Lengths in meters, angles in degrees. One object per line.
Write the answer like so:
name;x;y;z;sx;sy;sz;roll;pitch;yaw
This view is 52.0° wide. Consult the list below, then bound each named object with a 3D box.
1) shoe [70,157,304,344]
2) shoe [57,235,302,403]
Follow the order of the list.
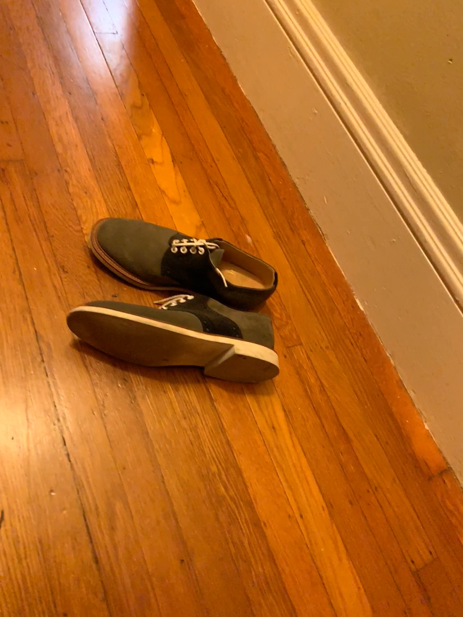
shoe;-0.064;-0.083;0.714;0.310;0.100;0.130;24;55;-7
shoe;-0.069;0.024;0.673;0.310;0.130;0.120;15;55;-13
